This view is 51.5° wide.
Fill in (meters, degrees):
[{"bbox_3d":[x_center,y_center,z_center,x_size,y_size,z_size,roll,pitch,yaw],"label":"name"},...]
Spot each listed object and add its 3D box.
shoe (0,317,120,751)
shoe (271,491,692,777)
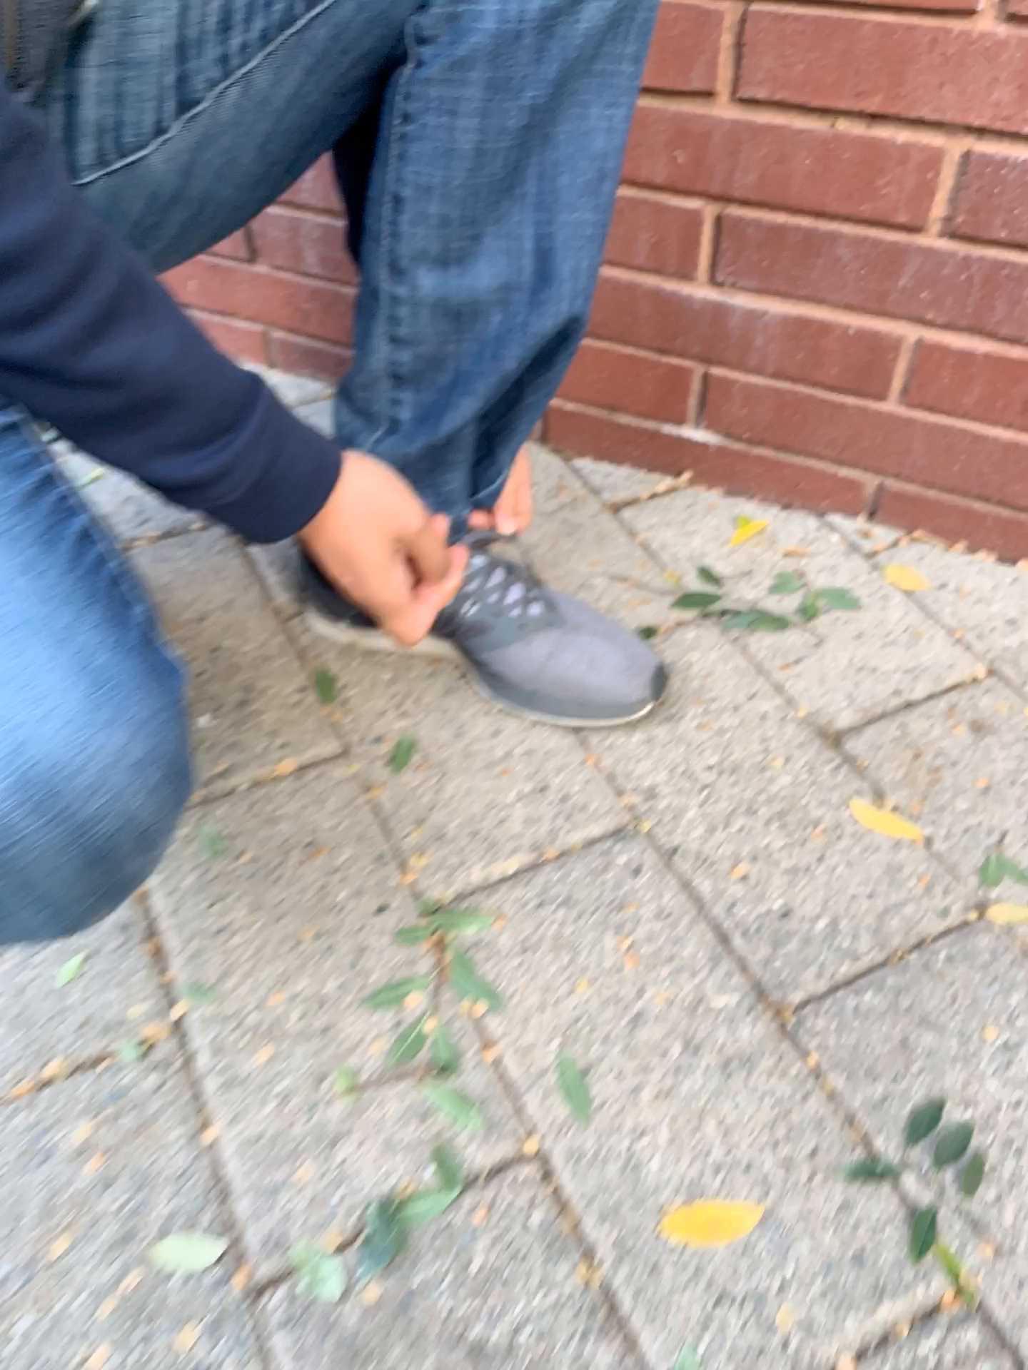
[{"bbox_3d":[-0.386,-0.104,0.769,0.115,0.274,0.098,-14,4,-10],"label":"shoe"},{"bbox_3d":[-0.025,-0.045,0.783,0.280,0.083,0.111,19,48,20],"label":"shoe"}]
